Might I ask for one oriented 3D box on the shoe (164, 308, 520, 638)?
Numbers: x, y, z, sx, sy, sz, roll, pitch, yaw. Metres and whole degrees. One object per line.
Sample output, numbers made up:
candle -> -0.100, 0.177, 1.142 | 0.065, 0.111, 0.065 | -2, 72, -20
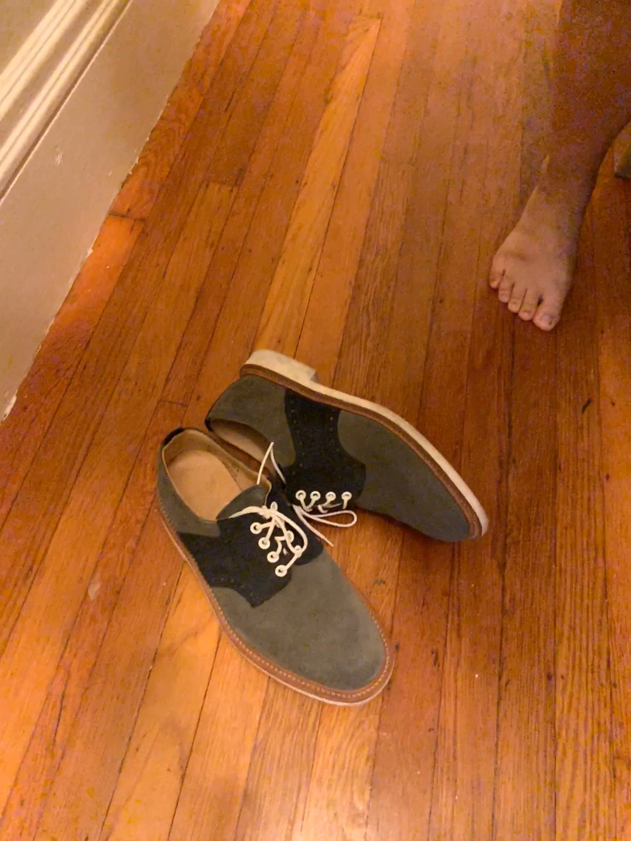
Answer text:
shoe -> 0.016, 0.049, 0.633 | 0.310, 0.130, 0.120 | 37, 67, 17

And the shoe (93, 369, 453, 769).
shoe -> -0.046, 0.119, 0.567 | 0.130, 0.100, 0.311 | -34, 67, -20
